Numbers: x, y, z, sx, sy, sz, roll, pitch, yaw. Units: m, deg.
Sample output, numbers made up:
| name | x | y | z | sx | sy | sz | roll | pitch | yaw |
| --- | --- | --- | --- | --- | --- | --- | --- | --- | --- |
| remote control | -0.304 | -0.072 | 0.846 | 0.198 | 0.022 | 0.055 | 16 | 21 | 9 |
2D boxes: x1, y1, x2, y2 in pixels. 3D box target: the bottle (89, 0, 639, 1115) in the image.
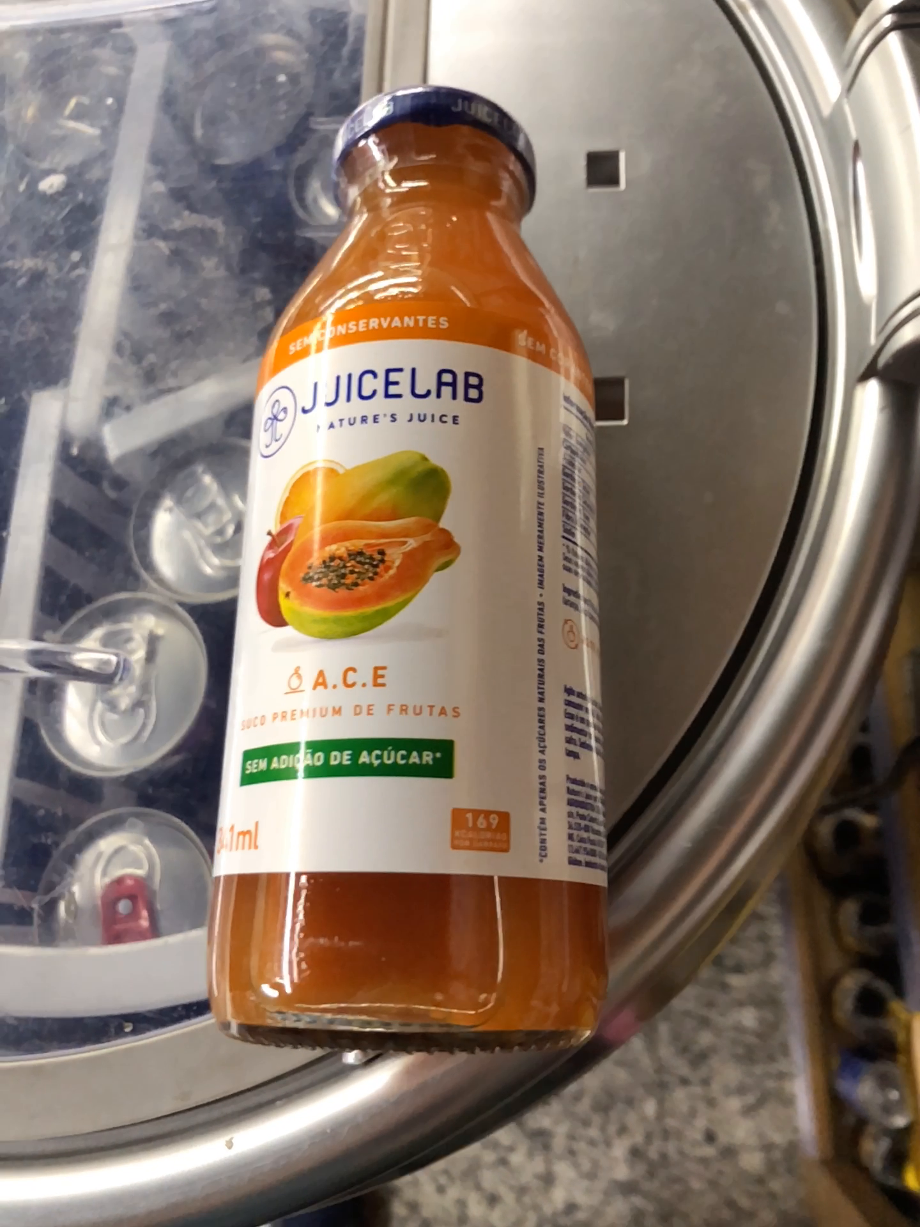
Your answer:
| name | x | y | z | sx | sy | sz | roll | pitch | yaw |
| --- | --- | --- | --- | --- | --- | --- | --- | --- | --- |
| bottle | -0.007 | -0.023 | 0.183 | 0.070 | 0.050 | 0.190 | -2 | 73 | 15 |
